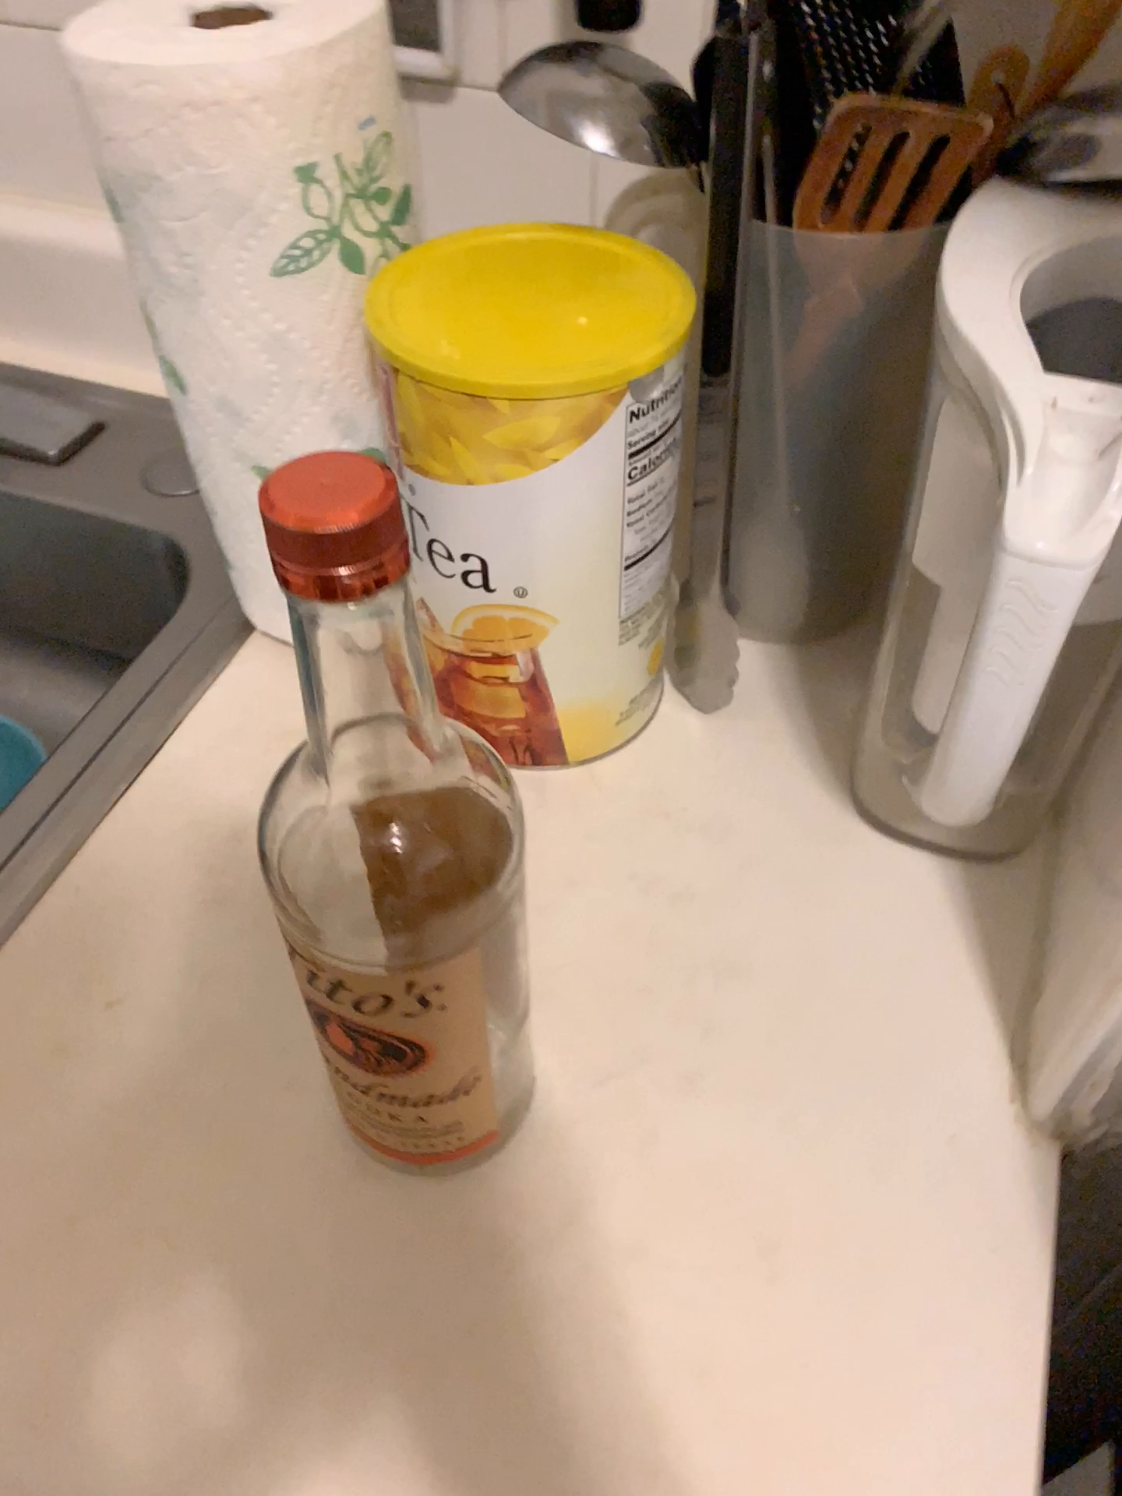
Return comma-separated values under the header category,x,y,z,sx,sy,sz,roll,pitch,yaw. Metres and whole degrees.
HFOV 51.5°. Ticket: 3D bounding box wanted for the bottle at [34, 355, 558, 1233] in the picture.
category,x,y,z,sx,sy,sz,roll,pitch,yaw
bottle,-0.056,0.040,0.358,0.080,0.289,0.080,0,47,0
